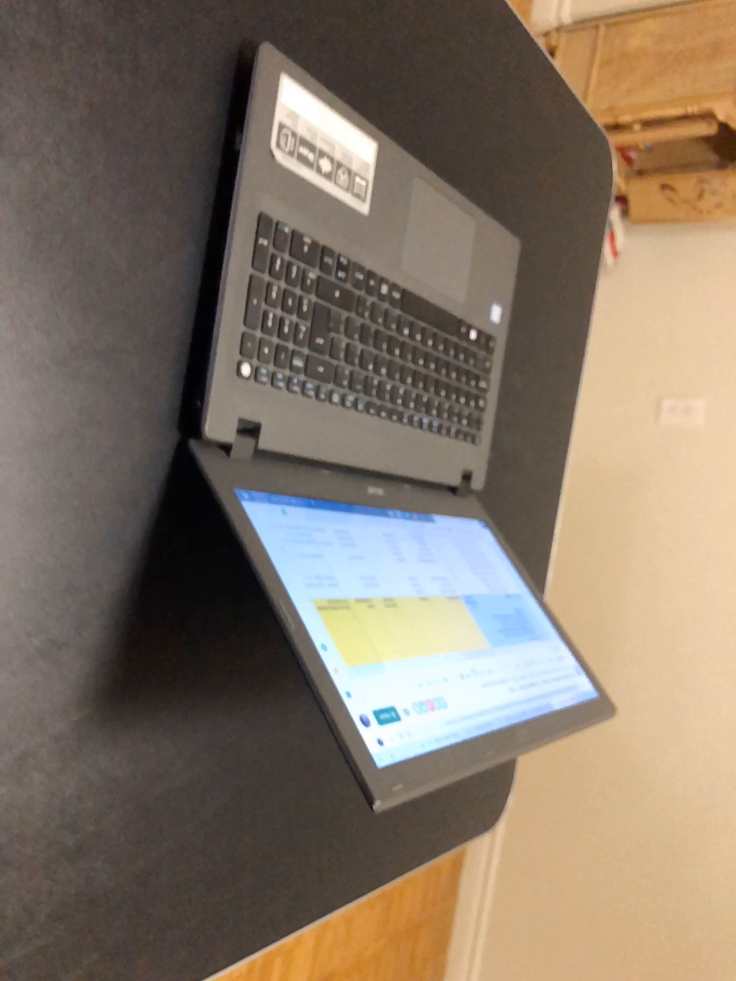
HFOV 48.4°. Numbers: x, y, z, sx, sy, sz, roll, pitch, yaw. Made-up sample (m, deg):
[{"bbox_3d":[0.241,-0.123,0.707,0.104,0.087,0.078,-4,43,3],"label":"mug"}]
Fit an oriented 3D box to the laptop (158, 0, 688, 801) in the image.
[{"bbox_3d":[0.078,-0.051,0.615,0.376,0.161,0.429,10,89,-55],"label":"laptop"}]
